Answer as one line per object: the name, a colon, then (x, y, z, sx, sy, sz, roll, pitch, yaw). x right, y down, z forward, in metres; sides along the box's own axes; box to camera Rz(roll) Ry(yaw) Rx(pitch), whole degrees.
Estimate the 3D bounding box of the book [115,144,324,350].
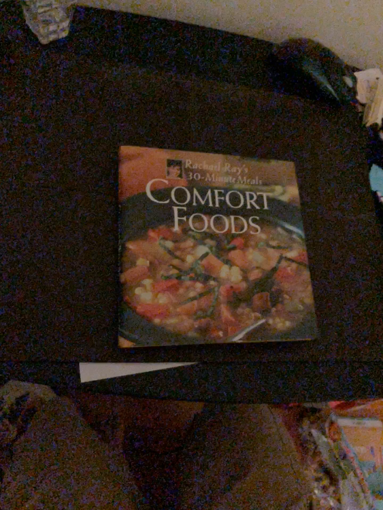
book: (0.025, -0.011, 0.404, 0.200, 0.020, 0.200, 1, 73, -15)
